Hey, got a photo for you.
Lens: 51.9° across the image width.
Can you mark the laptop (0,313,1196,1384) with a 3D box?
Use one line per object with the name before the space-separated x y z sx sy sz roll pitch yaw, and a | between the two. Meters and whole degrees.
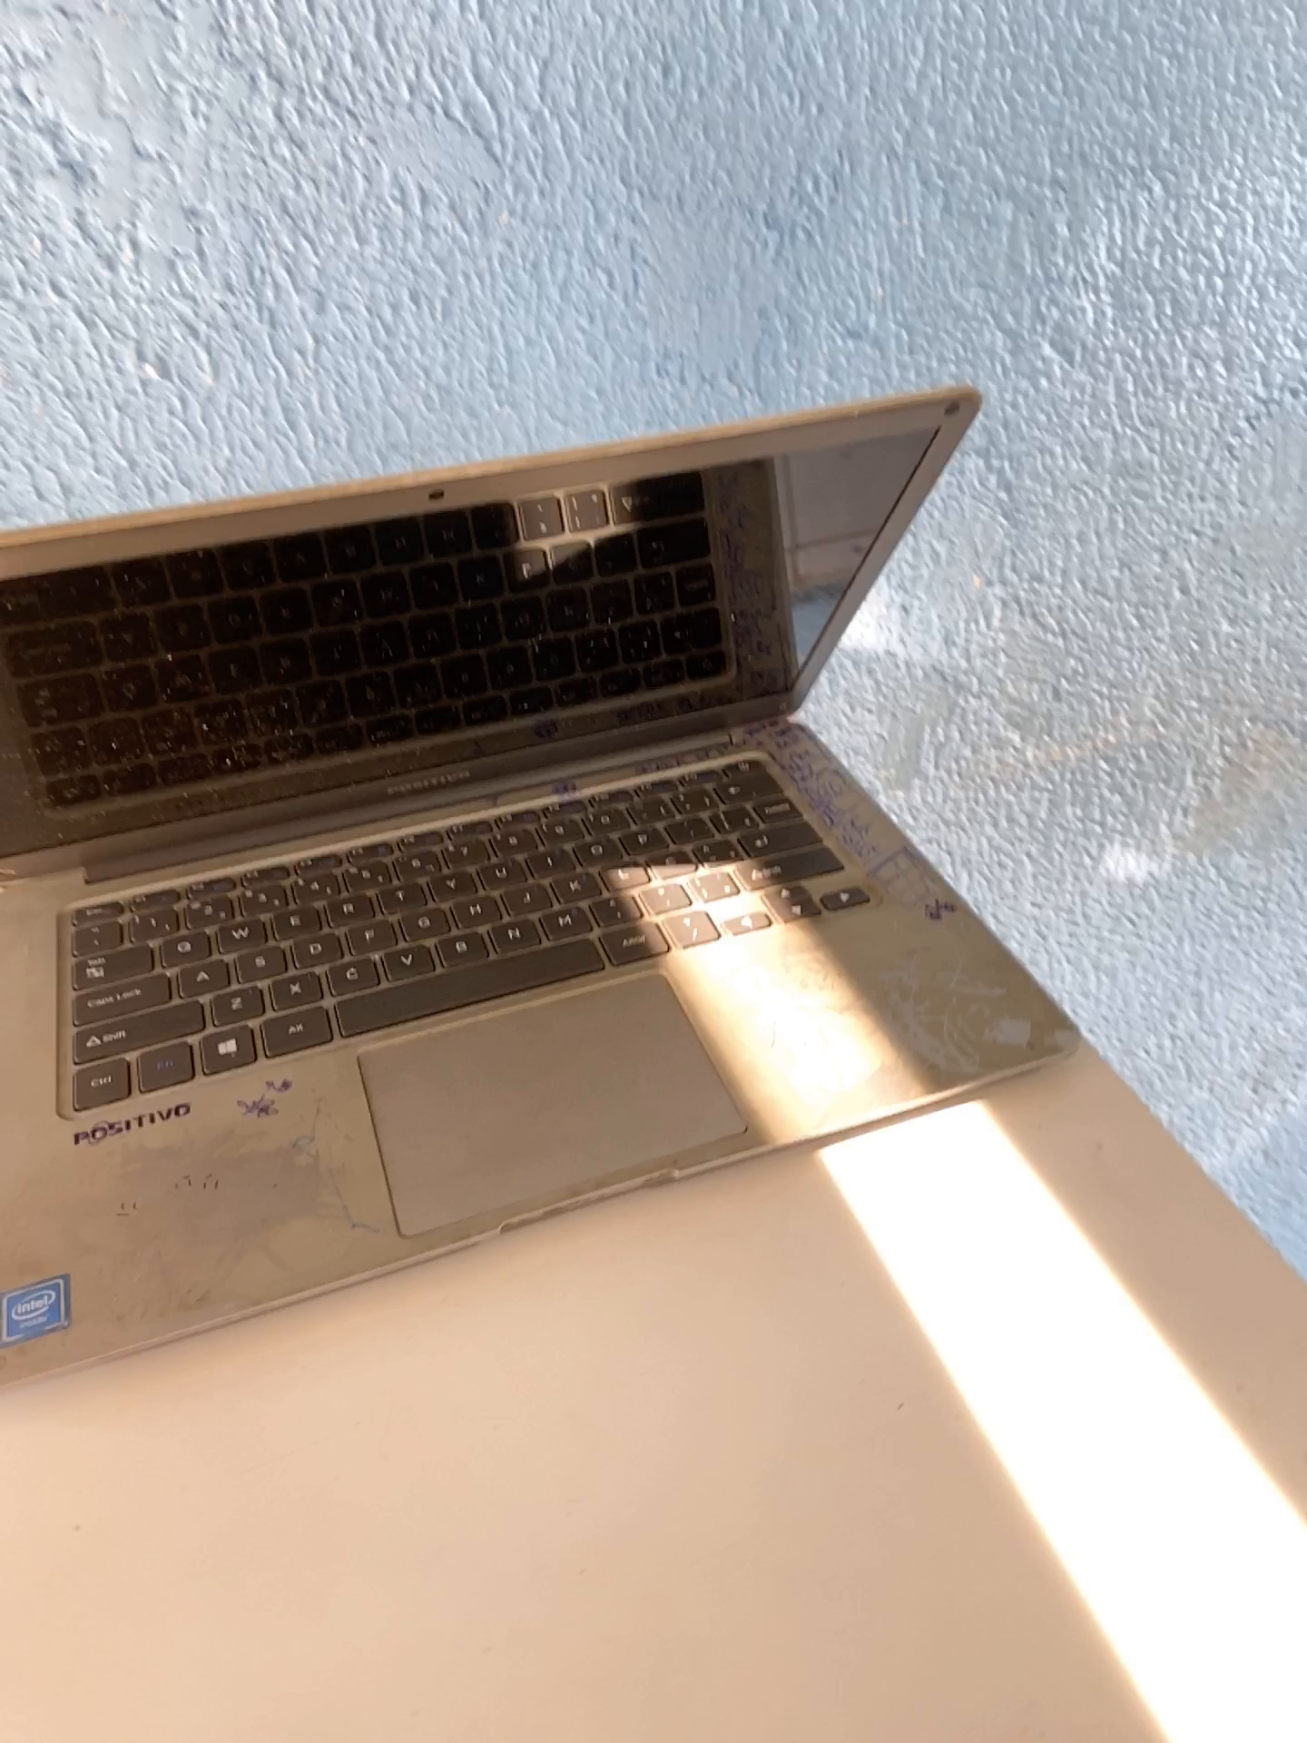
laptop | -0.056 -0.037 0.408 0.327 0.167 0.213 -13 37 -15
